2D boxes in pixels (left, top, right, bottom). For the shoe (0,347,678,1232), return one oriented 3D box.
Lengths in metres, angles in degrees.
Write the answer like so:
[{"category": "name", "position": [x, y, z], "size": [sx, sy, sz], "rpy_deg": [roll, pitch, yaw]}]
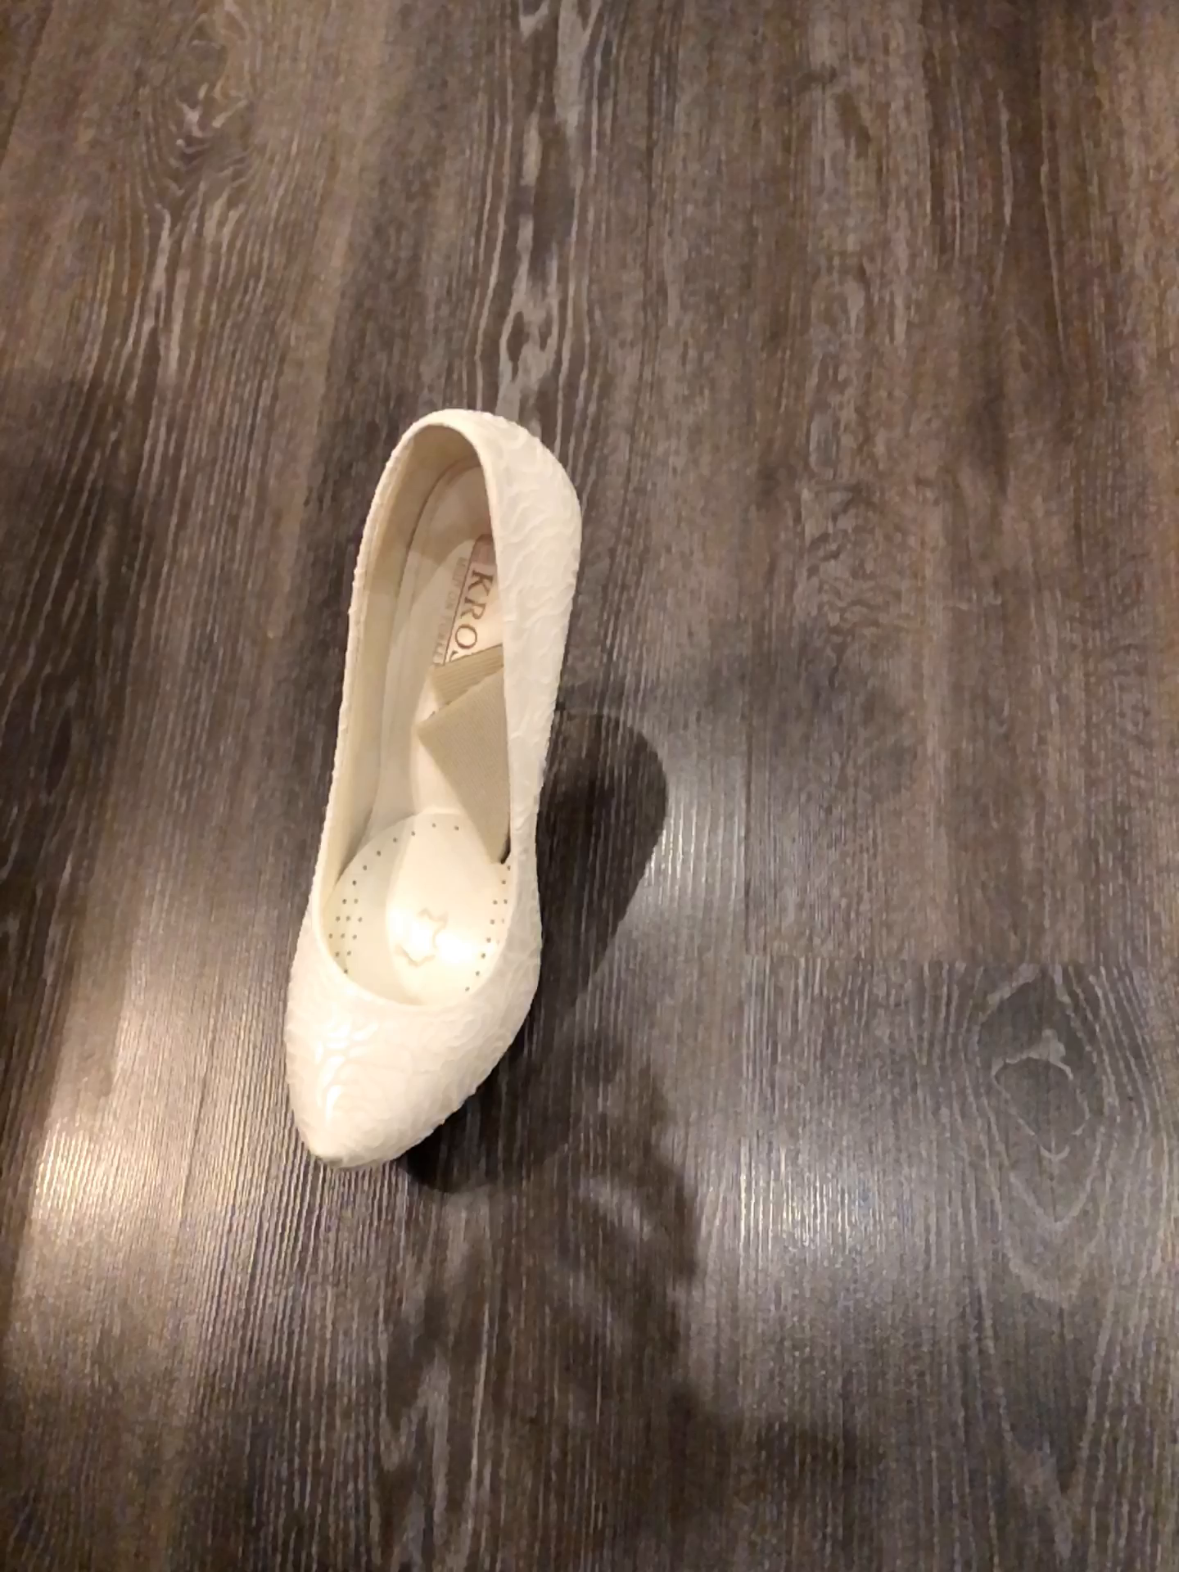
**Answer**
[{"category": "shoe", "position": [-0.054, 0.009, 0.391], "size": [0.090, 0.150, 0.210], "rpy_deg": [14, 71, 15]}]
